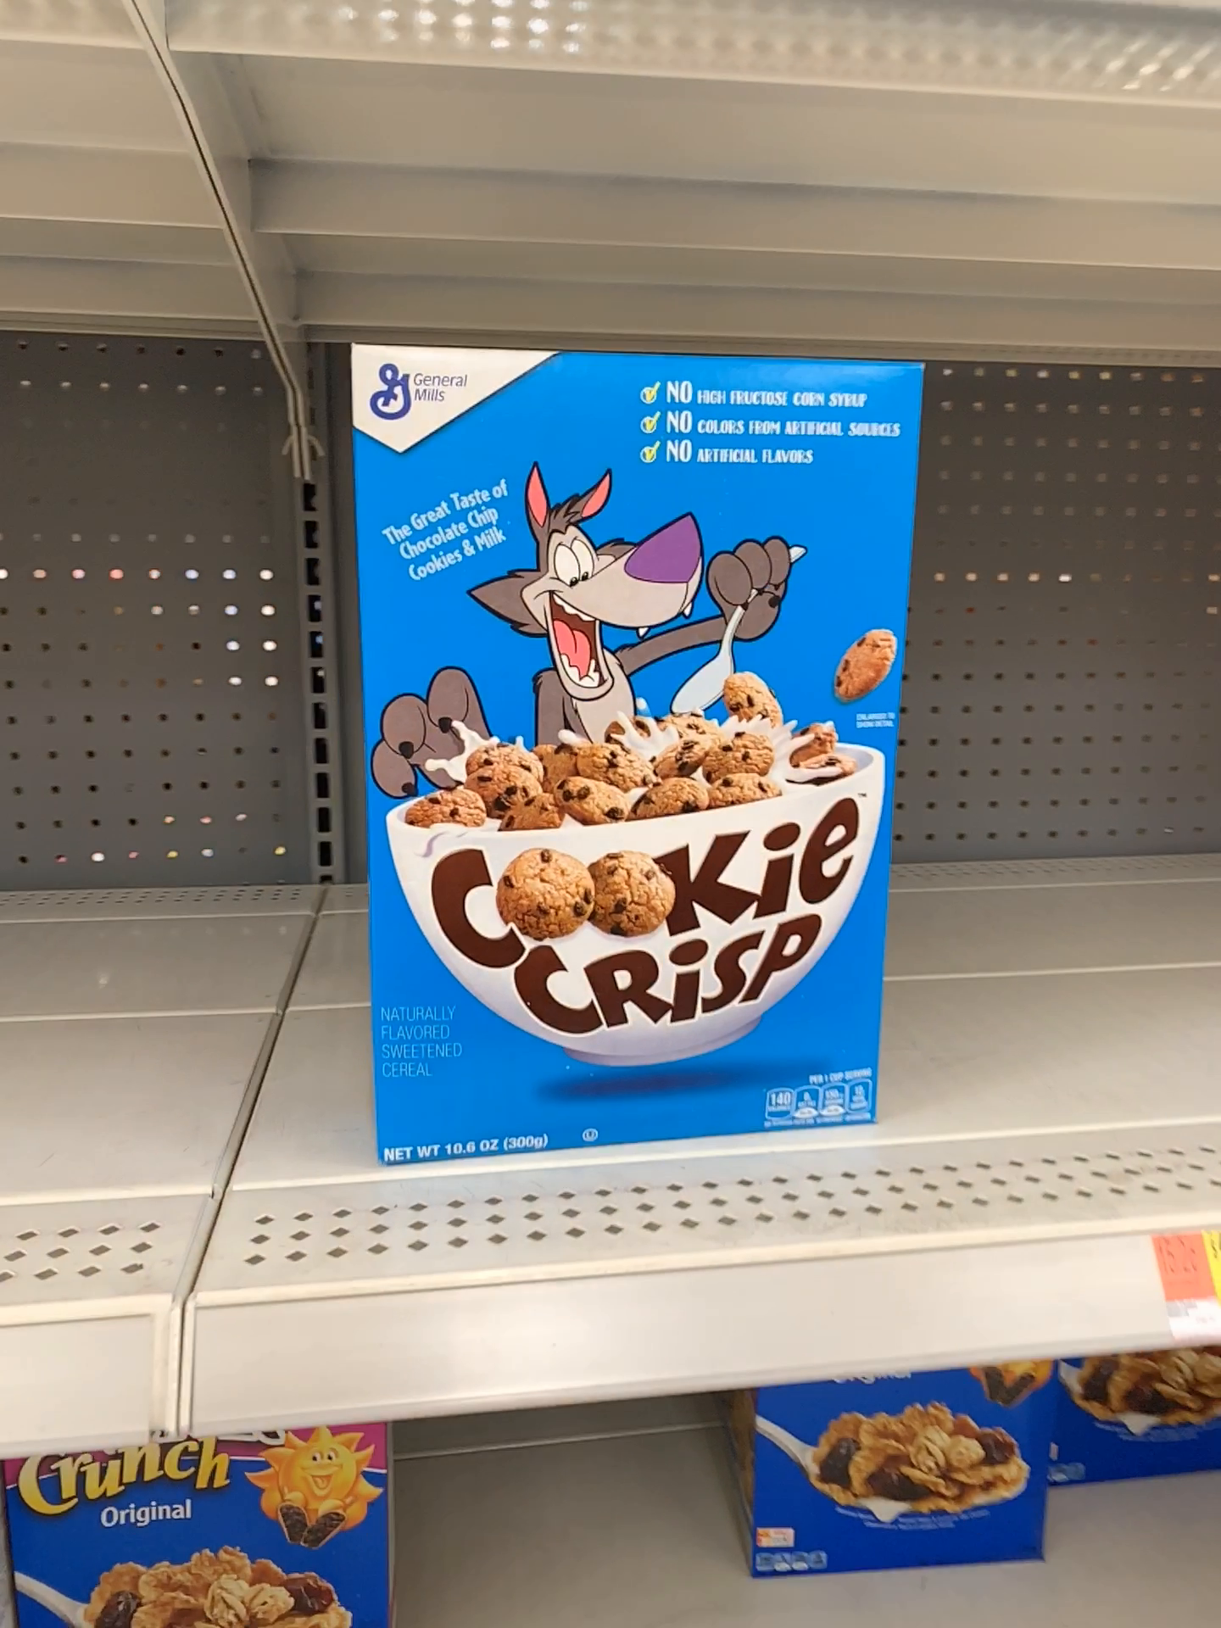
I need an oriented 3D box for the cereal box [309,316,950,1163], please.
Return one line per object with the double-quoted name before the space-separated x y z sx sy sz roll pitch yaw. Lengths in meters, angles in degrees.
"cereal box" 0.005 -0.024 0.455 0.210 0.279 0.050 -2 12 -12
